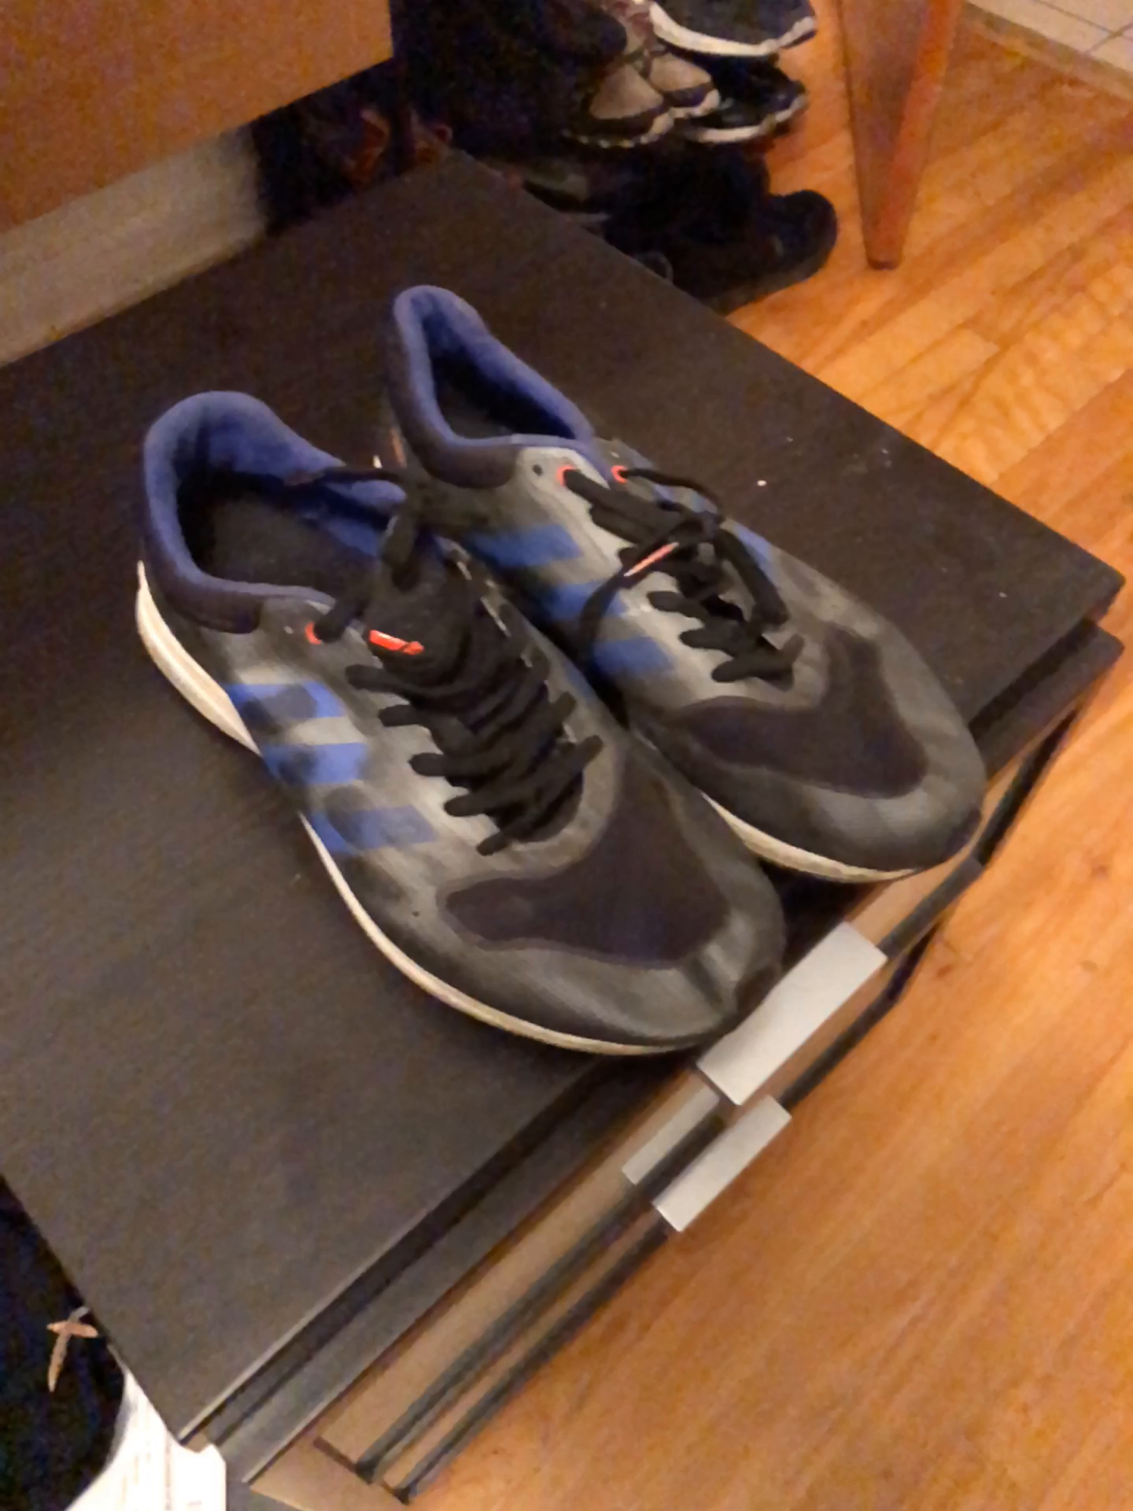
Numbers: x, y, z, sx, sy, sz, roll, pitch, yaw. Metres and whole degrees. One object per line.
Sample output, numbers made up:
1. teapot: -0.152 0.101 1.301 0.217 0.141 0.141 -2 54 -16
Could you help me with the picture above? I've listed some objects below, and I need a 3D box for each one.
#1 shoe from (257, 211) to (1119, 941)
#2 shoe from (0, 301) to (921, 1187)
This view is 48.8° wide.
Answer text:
1. shoe: 0.027 -0.082 0.454 0.110 0.070 0.301 -37 63 -24
2. shoe: -0.045 -0.020 0.378 0.110 0.079 0.271 -37 63 -24
